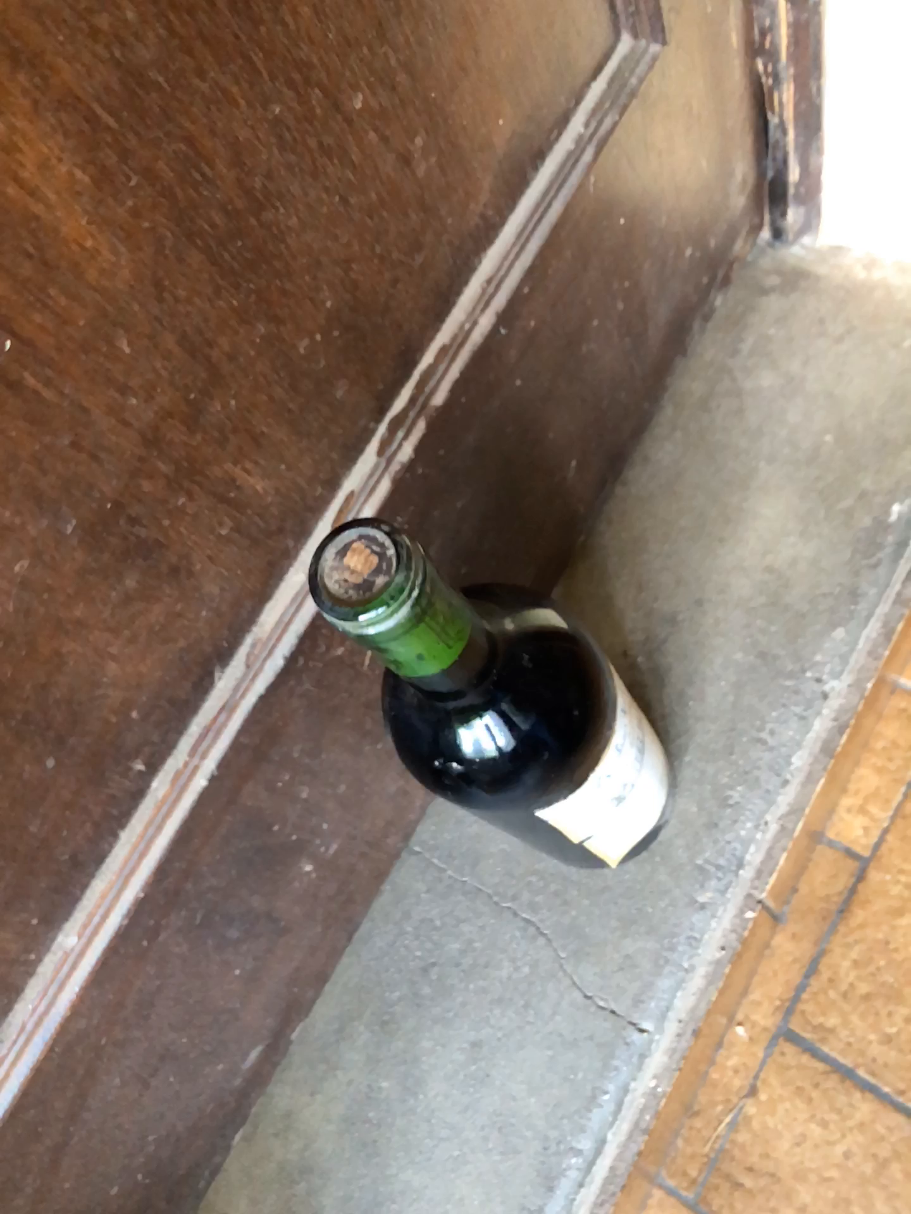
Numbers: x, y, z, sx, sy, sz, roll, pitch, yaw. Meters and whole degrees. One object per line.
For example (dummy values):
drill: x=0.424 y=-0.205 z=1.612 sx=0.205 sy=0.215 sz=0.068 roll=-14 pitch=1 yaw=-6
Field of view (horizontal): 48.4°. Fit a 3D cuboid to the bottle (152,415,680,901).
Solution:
bottle: x=0.019 y=0.045 z=0.347 sx=0.080 sy=0.279 sz=0.080 roll=-7 pitch=68 yaw=17
